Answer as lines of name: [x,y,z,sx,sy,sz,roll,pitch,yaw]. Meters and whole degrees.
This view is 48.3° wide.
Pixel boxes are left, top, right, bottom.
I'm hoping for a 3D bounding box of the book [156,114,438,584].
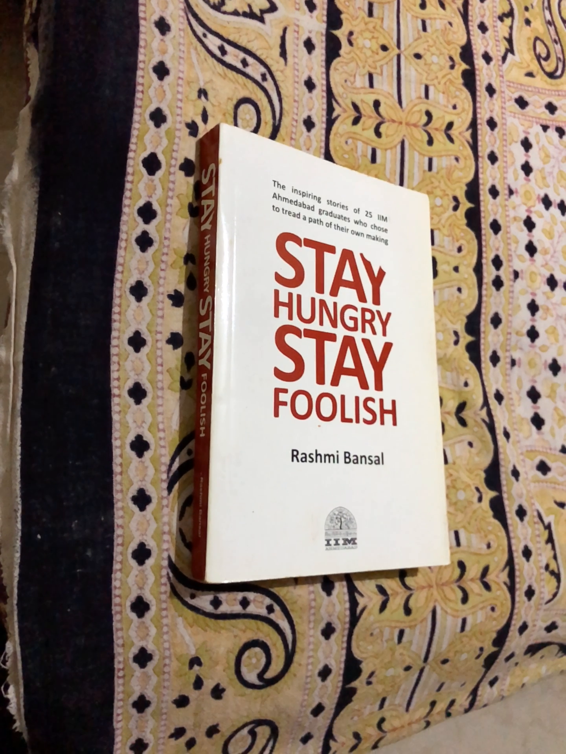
book: [0.014,-0.009,0.329,0.140,0.040,0.210,7,79,-31]
